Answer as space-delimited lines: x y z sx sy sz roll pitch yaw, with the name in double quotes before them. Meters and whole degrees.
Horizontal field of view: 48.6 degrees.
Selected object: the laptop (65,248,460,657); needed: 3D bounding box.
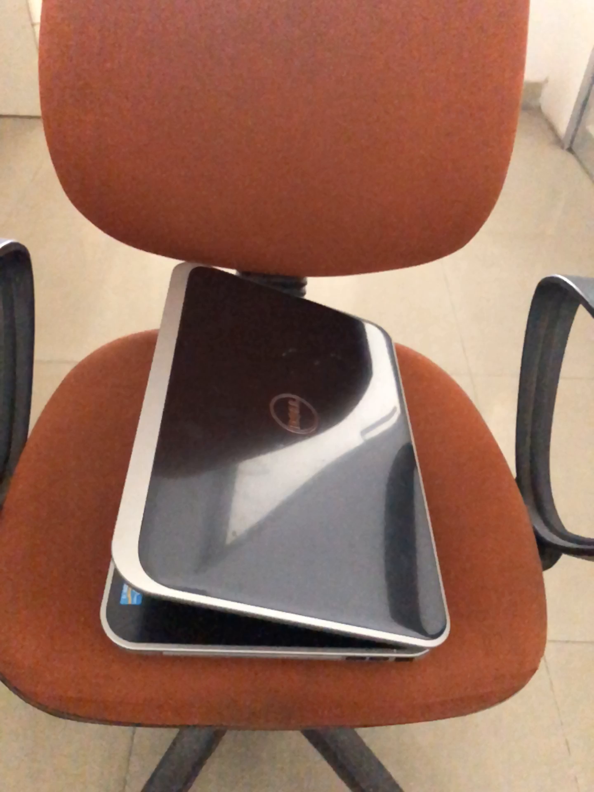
"laptop" -0.022 0.019 0.554 0.233 0.090 0.368 3 43 -4
